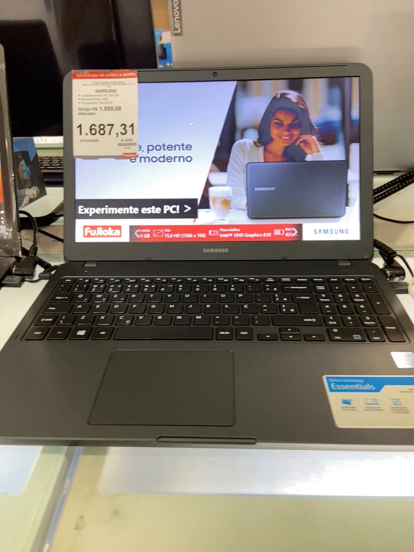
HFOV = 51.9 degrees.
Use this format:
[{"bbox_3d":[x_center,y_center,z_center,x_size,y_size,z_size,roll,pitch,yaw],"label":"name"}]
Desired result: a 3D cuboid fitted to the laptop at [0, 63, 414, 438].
[{"bbox_3d":[0.003,-0.069,0.408,0.366,0.196,0.372,-1,31,4],"label":"laptop"}]
